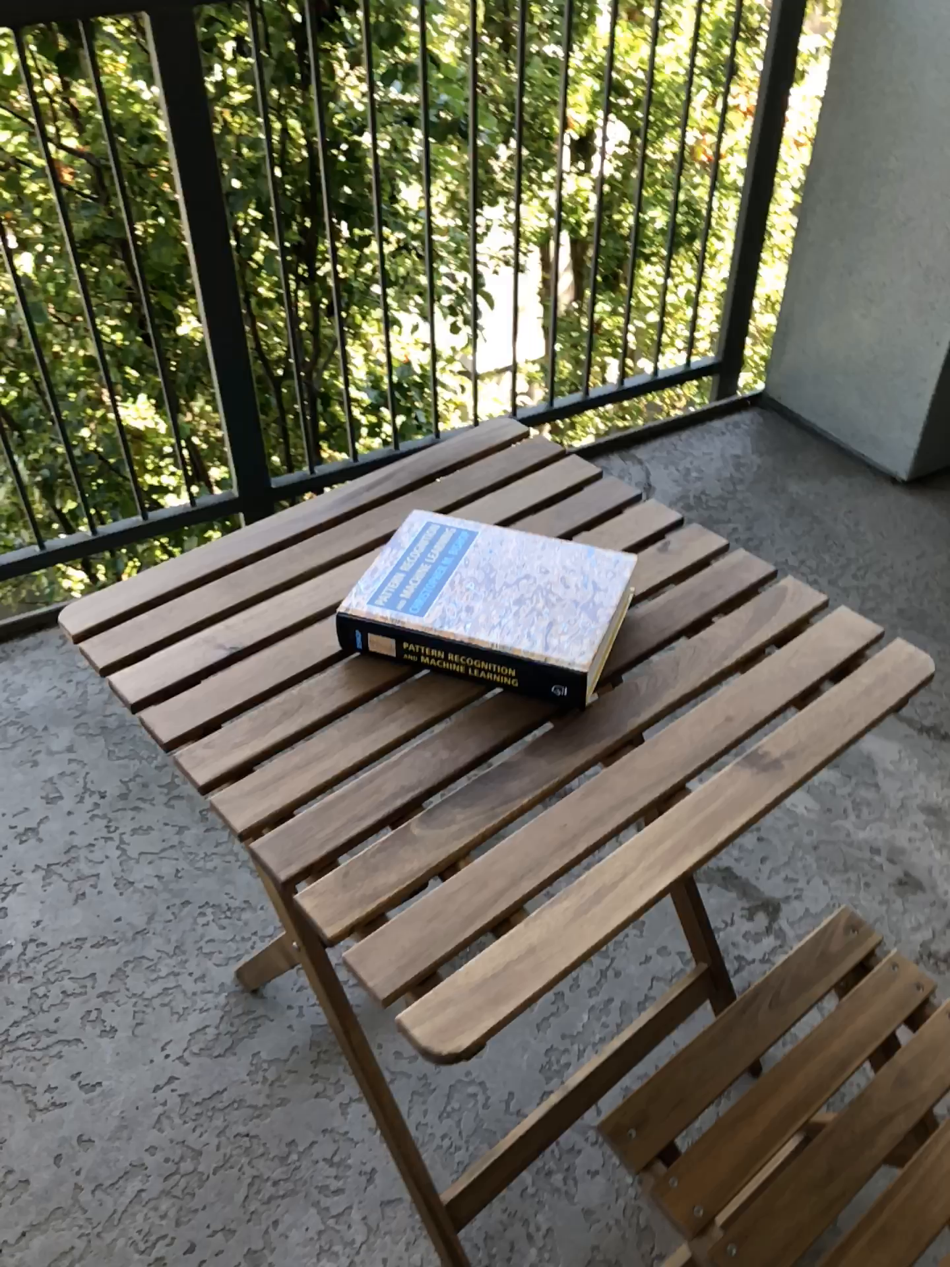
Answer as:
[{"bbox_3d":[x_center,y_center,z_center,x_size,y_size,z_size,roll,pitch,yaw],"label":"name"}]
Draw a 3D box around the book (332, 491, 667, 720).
[{"bbox_3d":[0.027,-0.035,0.954,0.250,0.050,0.191,14,43,15],"label":"book"}]
